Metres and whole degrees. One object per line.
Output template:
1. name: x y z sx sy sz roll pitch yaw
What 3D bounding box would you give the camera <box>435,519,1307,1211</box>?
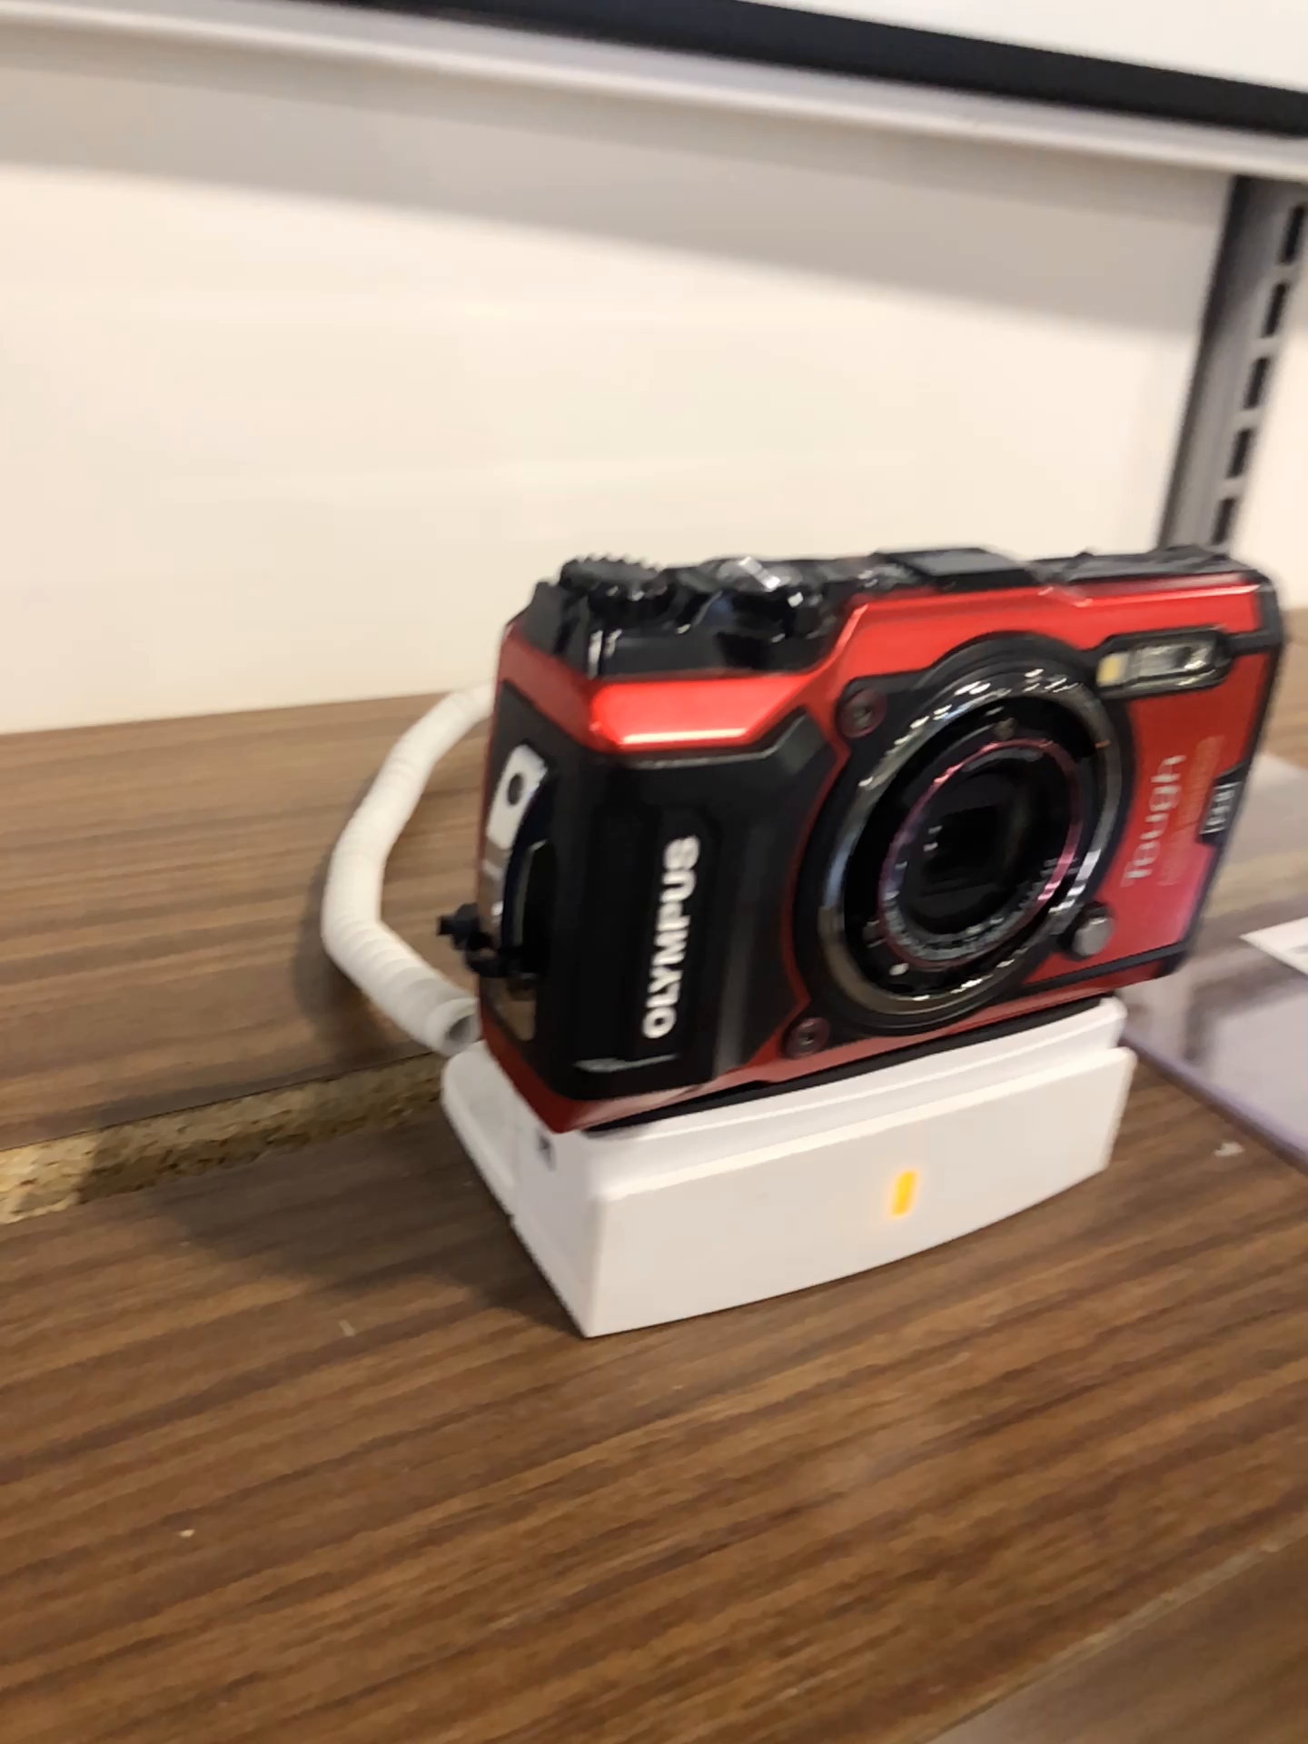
1. camera: 0.034 -0.007 0.194 0.120 0.070 0.030 -9 28 -27
